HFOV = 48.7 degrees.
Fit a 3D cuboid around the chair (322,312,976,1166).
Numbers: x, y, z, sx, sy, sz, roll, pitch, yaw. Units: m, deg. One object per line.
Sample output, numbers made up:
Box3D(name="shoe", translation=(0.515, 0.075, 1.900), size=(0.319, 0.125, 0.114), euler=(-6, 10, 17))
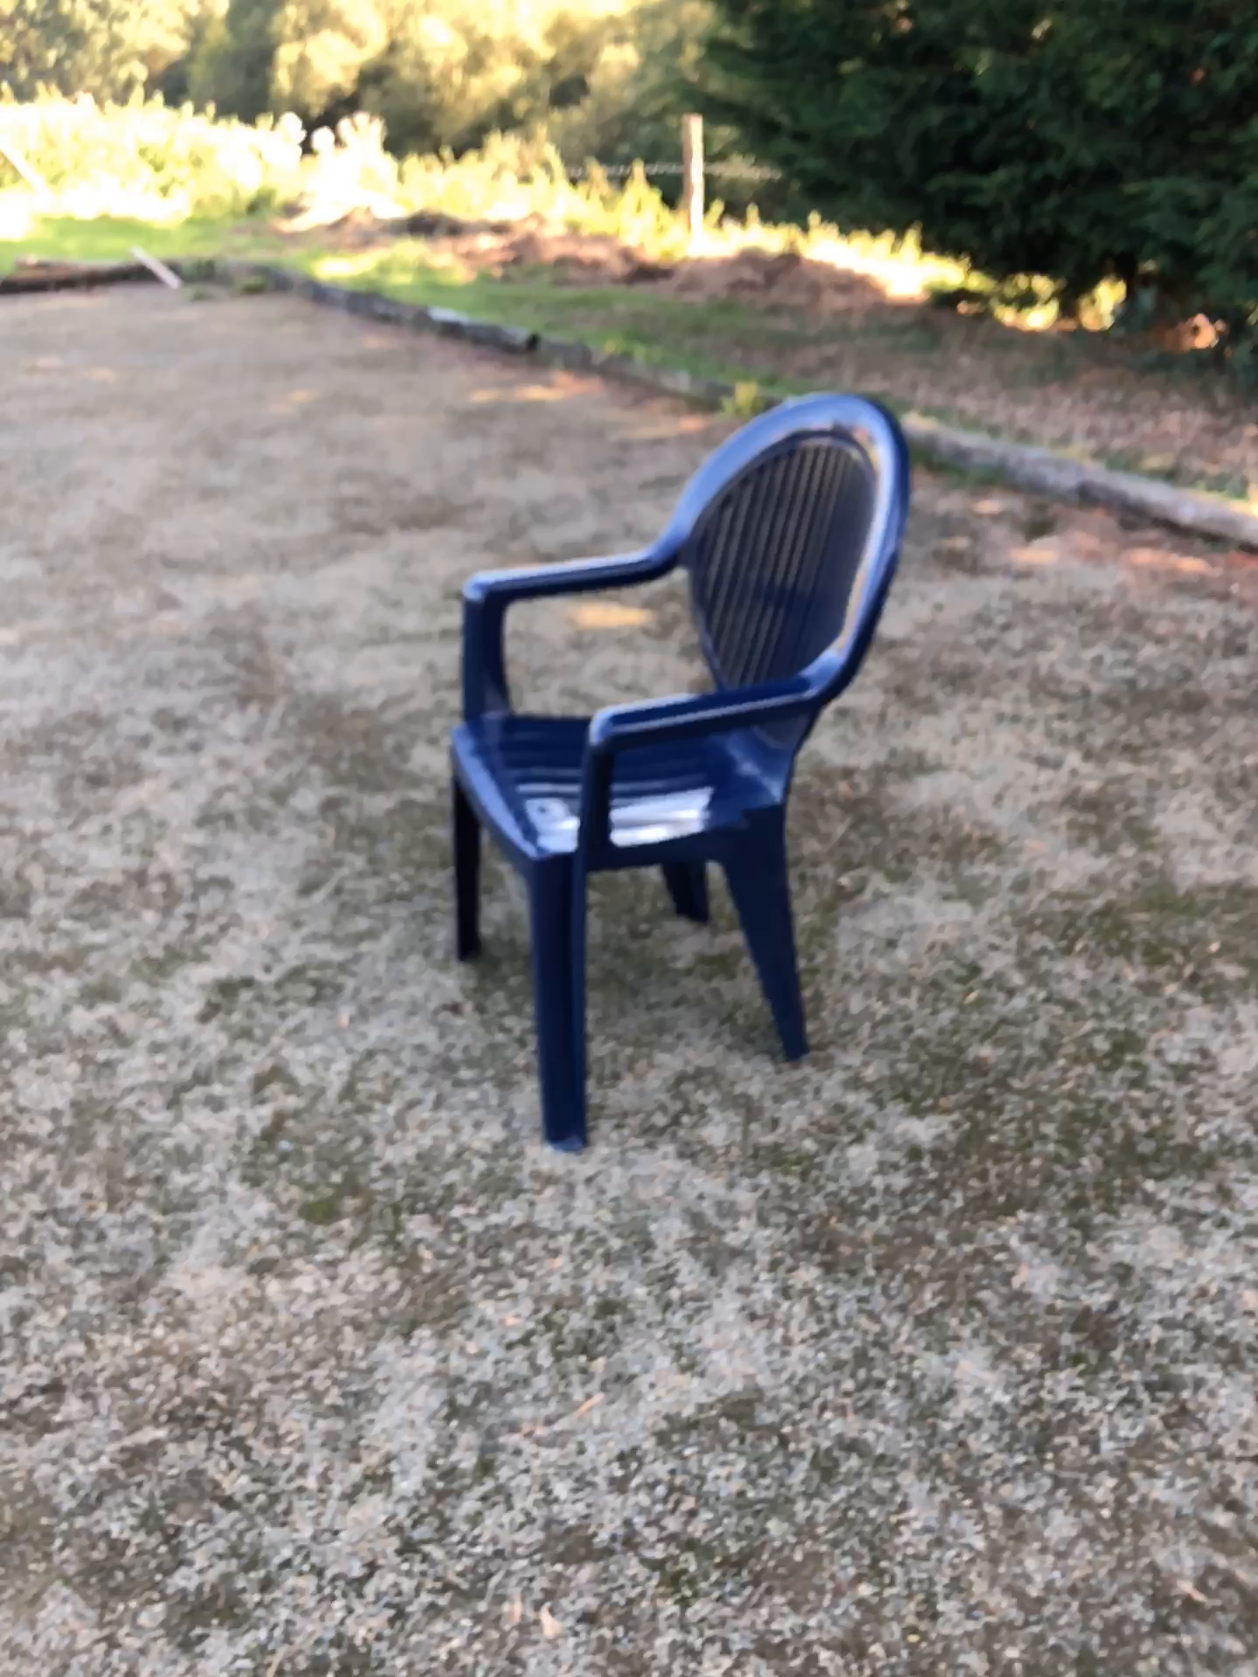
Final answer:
Box3D(name="chair", translation=(0.003, -0.168, 1.817), size=(0.571, 0.855, 0.592), euler=(-13, 31, -19))
